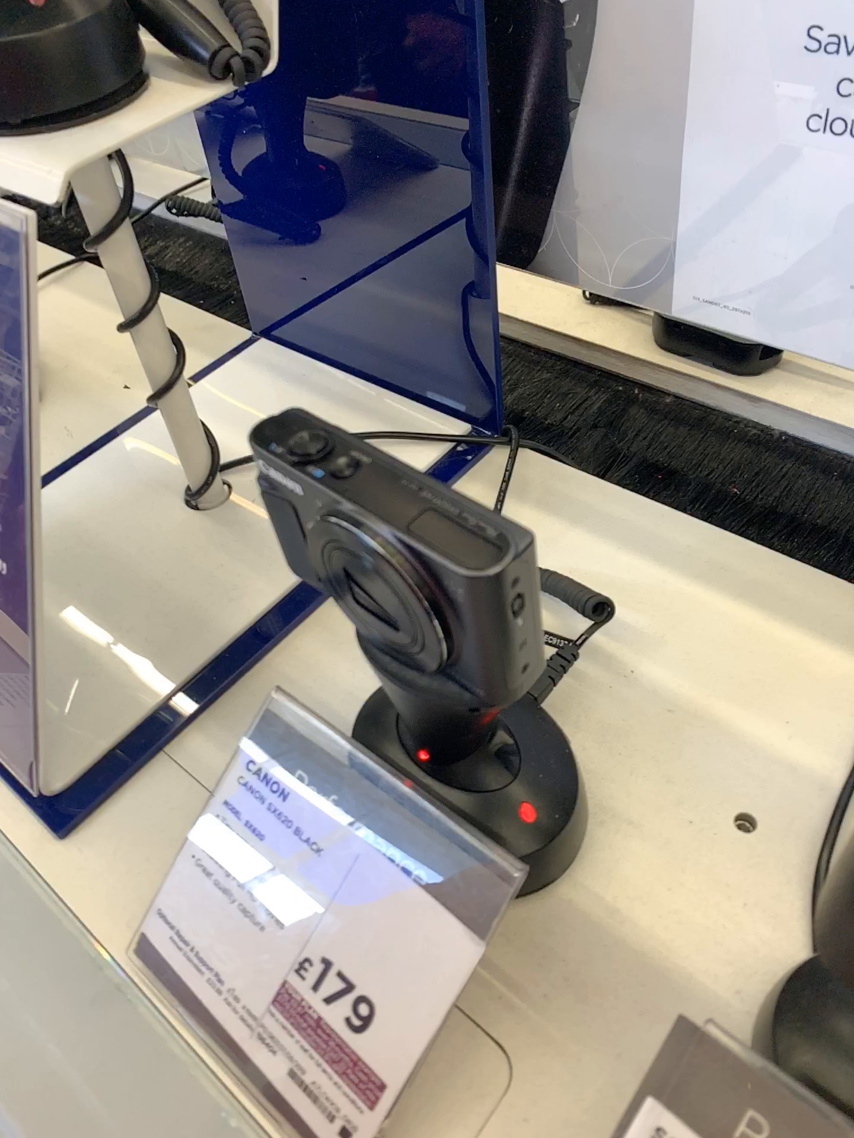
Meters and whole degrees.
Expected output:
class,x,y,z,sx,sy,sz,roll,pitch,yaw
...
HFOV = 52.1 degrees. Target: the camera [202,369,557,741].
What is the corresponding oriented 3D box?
class,x,y,z,sx,sy,sz,roll,pitch,yaw
camera,-0.012,-0.006,0.230,0.091,0.059,0.030,31,59,33
